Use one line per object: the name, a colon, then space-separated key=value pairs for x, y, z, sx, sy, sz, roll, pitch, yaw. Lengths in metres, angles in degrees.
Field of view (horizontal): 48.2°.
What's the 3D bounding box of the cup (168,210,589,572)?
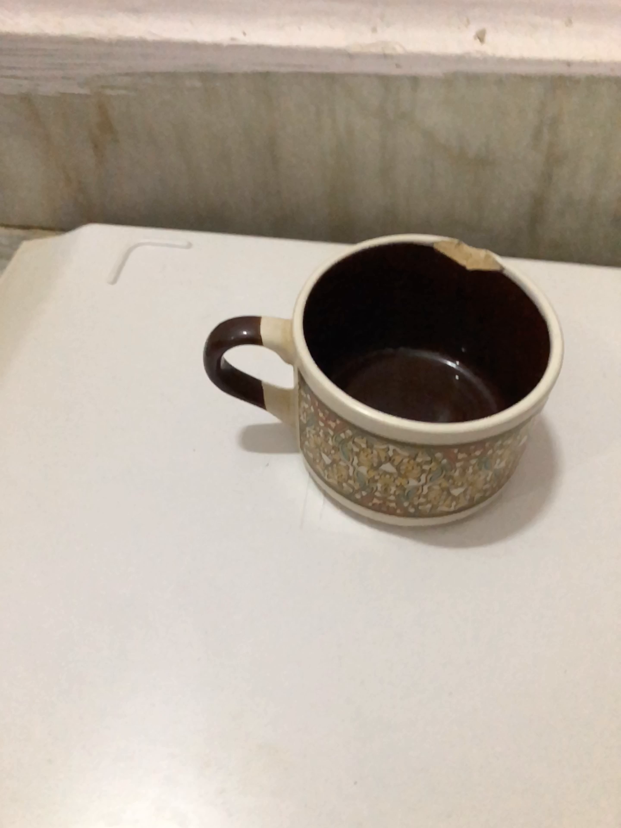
cup: x=0.021 y=-0.009 z=0.213 sx=0.100 sy=0.060 sz=0.080 roll=7 pitch=52 yaw=6
